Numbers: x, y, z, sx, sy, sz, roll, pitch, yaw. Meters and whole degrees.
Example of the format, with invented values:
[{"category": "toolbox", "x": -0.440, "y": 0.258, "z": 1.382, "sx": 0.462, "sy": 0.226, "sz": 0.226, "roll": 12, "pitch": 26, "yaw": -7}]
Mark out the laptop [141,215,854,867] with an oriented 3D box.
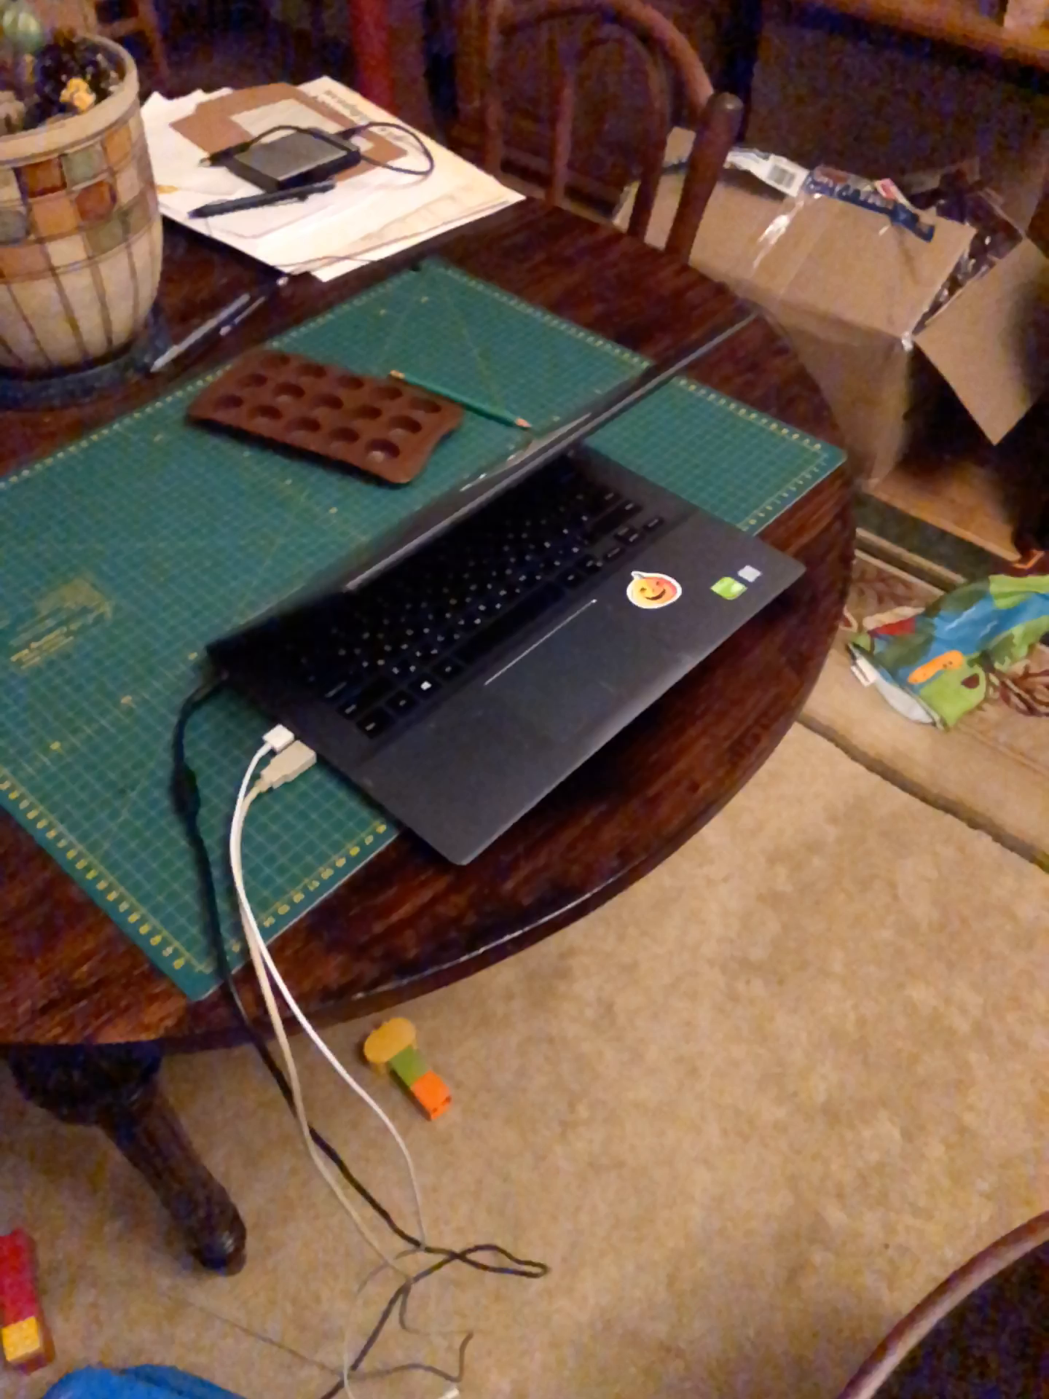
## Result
[{"category": "laptop", "x": -0.006, "y": -0.111, "z": 0.678, "sx": 0.224, "sy": 0.162, "sz": 0.318, "roll": 35, "pitch": 57, "yaw": 27}]
